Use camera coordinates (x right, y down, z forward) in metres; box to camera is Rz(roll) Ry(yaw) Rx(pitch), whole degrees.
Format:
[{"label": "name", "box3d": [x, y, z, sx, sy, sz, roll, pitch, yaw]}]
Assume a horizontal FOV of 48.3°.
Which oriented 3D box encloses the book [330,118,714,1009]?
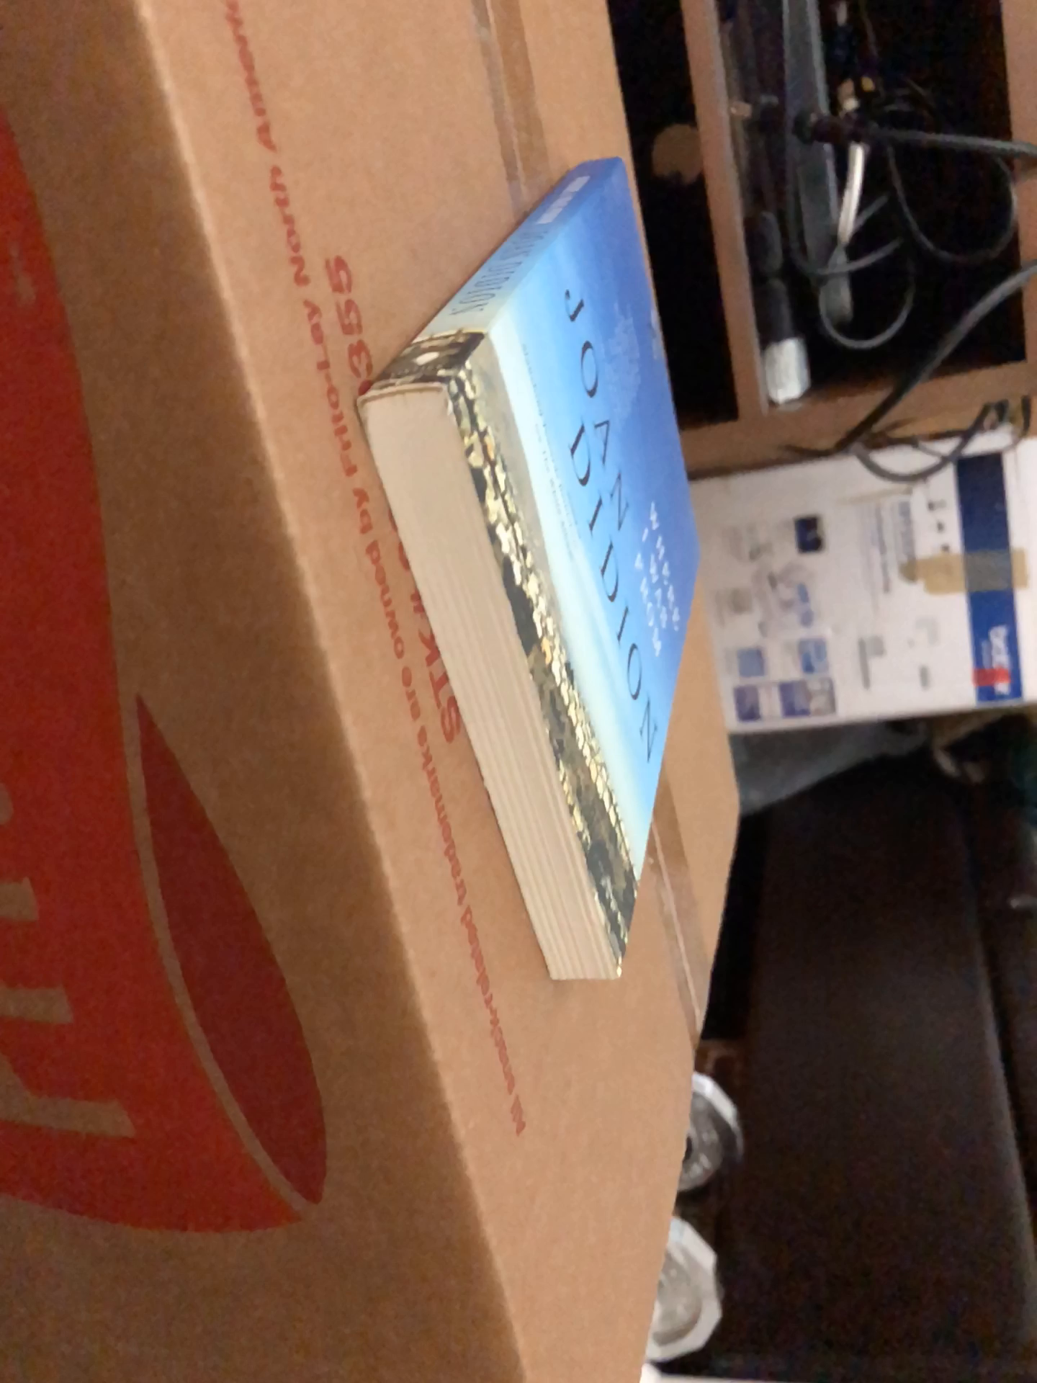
[{"label": "book", "box3d": [0.020, -0.050, 0.290, 0.211, 0.020, 0.140, -70, 148, -54]}]
